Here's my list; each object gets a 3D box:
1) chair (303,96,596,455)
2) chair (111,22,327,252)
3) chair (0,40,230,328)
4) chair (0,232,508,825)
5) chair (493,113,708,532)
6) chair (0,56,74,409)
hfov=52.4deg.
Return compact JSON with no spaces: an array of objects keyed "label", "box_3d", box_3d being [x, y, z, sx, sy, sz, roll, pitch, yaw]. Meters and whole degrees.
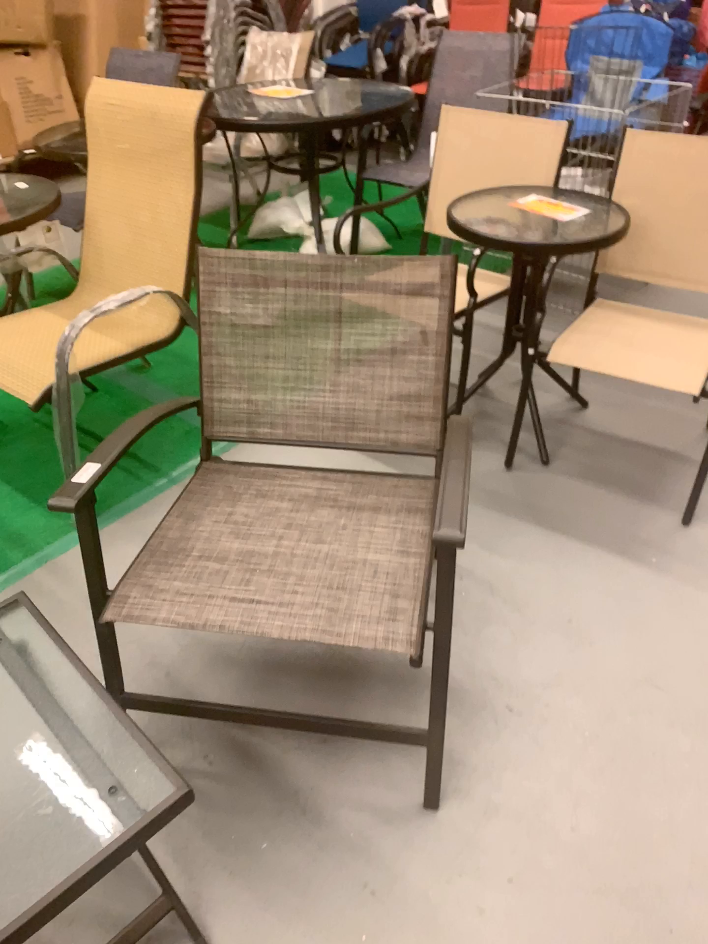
[{"label":"chair","box_3d":[0.277,-0.638,2.242,0.575,0.837,0.631,23,41,29]},{"label":"chair","box_3d":[-0.703,-1.919,4.069,0.695,0.996,0.872,25,42,31]},{"label":"chair","box_3d":[-1.128,-1.303,3.173,0.735,0.957,0.771,23,41,29]},{"label":"chair","box_3d":[-0.104,0.063,1.393,0.674,0.778,0.773,4,37,6]},{"label":"chair","box_3d":[0.797,-0.430,1.938,0.555,0.847,0.631,18,39,24]},{"label":"chair","box_3d":[-1.583,-0.883,2.569,0.675,0.957,0.671,28,43,33]}]
